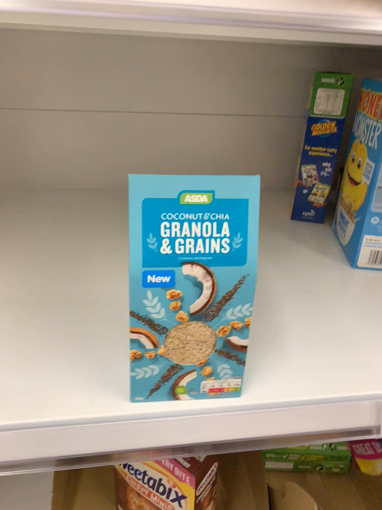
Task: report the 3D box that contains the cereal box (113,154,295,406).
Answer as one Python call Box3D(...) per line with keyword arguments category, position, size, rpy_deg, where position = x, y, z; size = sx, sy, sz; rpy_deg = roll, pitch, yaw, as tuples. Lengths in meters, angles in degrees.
Box3D(category="cereal box", position=(0.003, 0.032, 0.385), size=(0.140, 0.238, 0.071), rpy_deg=(0, 27, -6))
